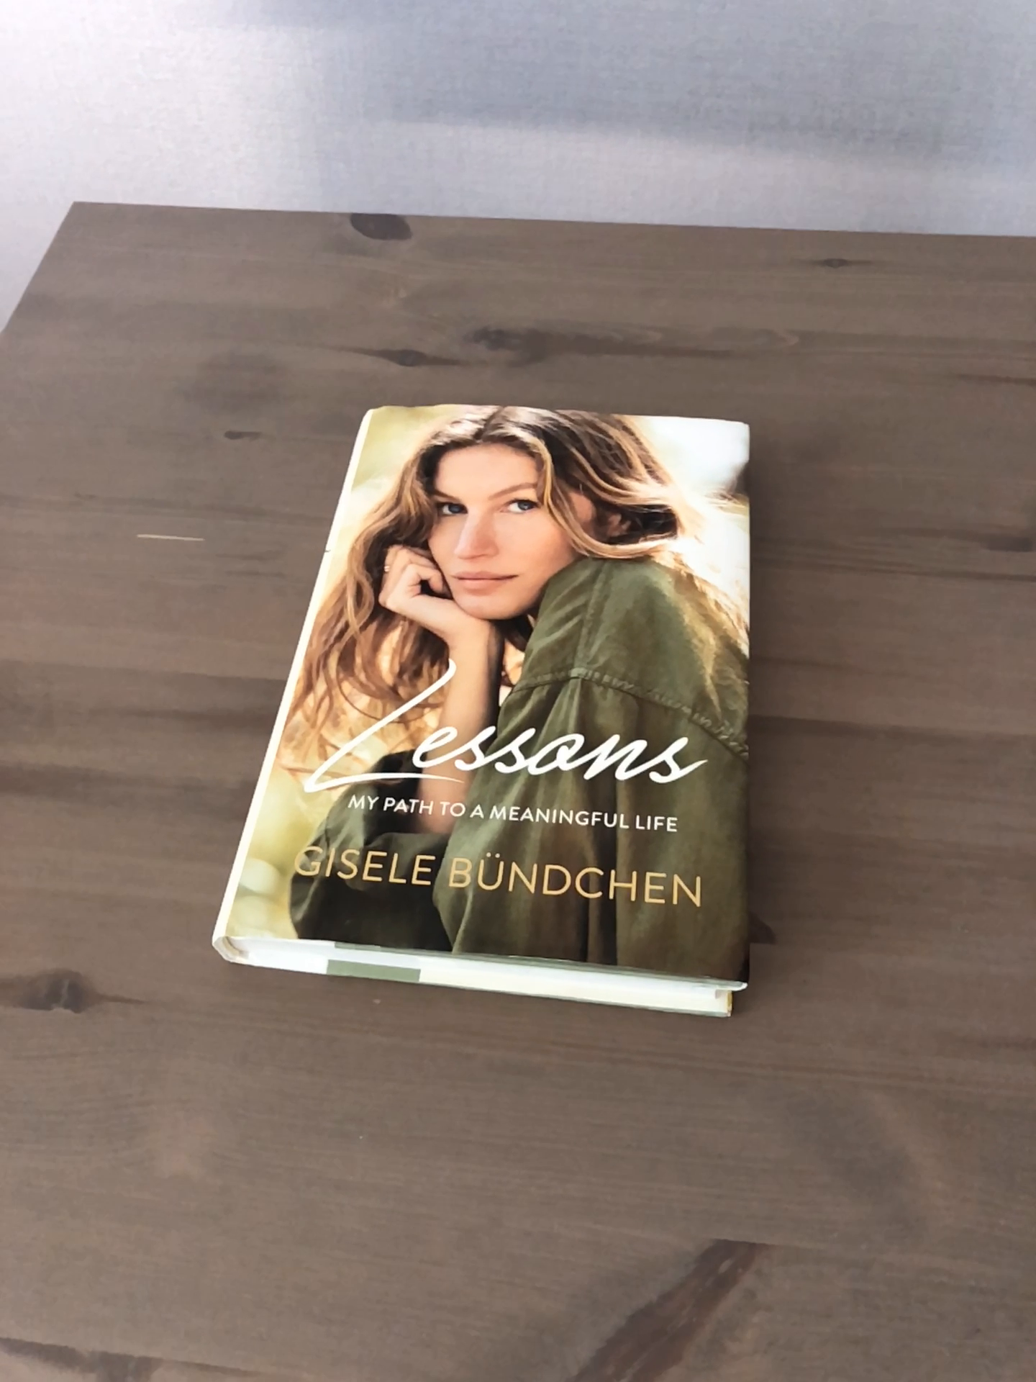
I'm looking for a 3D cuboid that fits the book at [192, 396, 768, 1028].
[{"bbox_3d":[0.001,-0.009,0.395,0.160,0.030,0.228,4,55,5],"label":"book"}]
